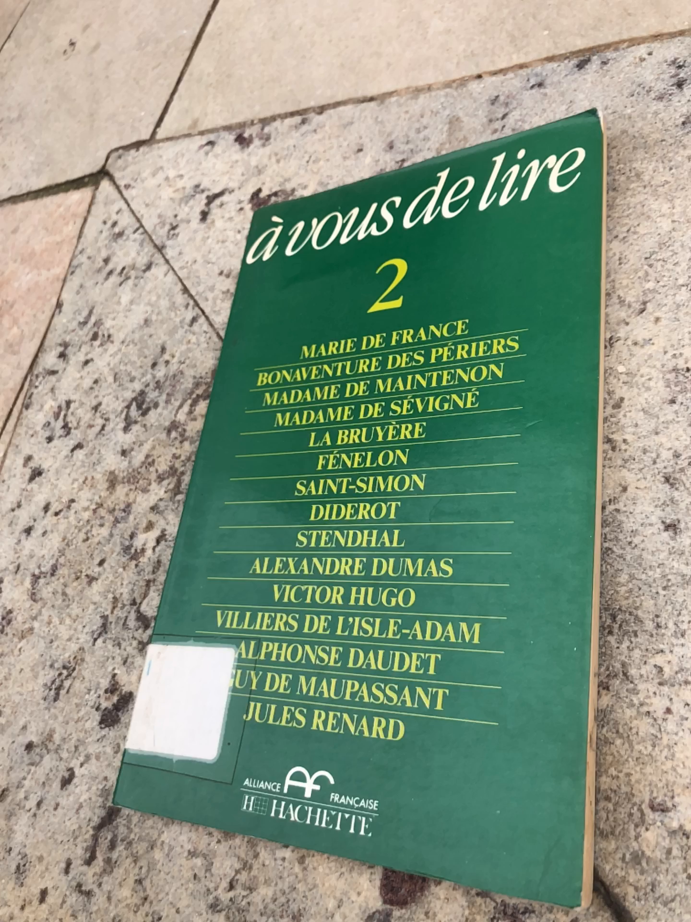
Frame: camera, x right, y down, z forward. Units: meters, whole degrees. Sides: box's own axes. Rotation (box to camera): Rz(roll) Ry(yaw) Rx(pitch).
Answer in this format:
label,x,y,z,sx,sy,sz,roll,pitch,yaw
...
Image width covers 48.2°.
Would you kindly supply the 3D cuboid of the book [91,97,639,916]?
label,x,y,z,sx,sy,sz,roll,pitch,yaw
book,0.010,-0.003,0.227,0.140,0.017,0.210,-5,62,31
